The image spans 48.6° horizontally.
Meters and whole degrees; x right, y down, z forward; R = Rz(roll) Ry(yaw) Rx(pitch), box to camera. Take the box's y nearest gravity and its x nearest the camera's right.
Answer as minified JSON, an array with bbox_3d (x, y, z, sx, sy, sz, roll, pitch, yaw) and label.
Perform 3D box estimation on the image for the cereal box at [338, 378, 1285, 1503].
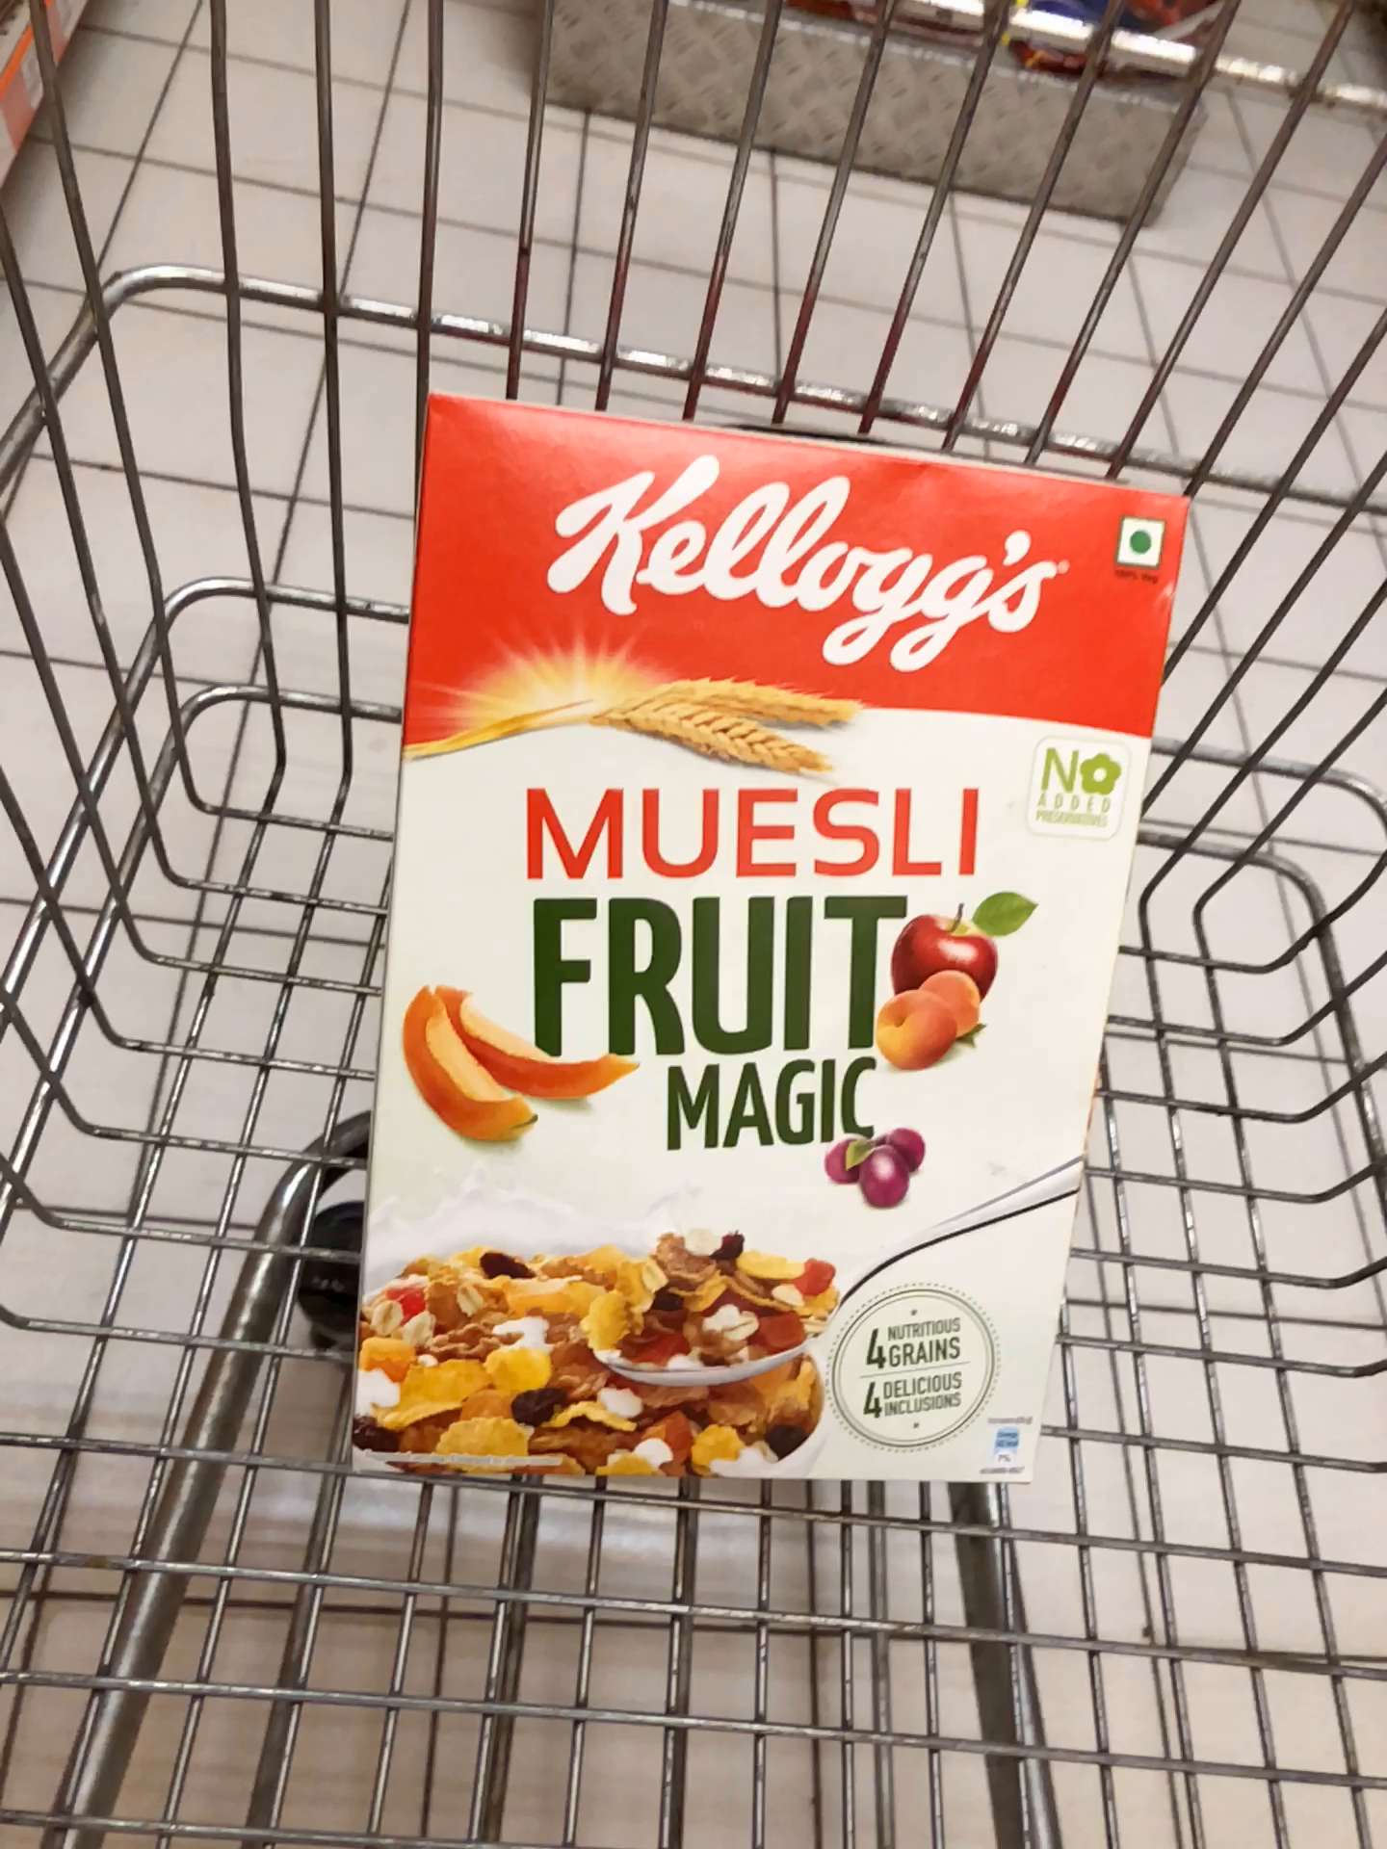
[{"bbox_3d":[0.019,0.012,0.414,0.200,0.269,0.080,5,14,-11],"label":"cereal box"}]
